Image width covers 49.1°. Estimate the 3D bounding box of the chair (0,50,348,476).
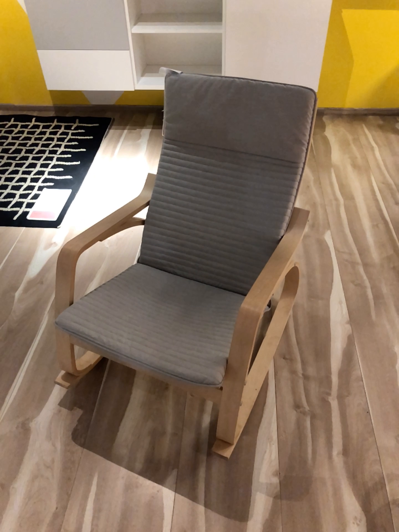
[{"bbox_3d":[-0.079,-0.024,1.369,0.751,0.944,0.704,16,46,18],"label":"chair"}]
